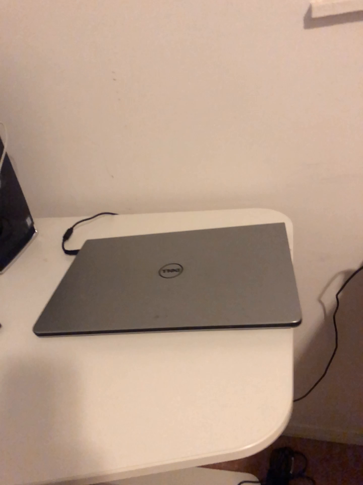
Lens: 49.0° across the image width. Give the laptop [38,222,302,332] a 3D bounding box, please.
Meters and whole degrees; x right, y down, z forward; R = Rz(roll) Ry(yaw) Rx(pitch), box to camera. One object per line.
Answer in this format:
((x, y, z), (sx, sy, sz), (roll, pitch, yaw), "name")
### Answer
((-0.015, 0.047, 0.646), (0.371, 0.001, 0.248), (-5, 32, 12), "laptop")
